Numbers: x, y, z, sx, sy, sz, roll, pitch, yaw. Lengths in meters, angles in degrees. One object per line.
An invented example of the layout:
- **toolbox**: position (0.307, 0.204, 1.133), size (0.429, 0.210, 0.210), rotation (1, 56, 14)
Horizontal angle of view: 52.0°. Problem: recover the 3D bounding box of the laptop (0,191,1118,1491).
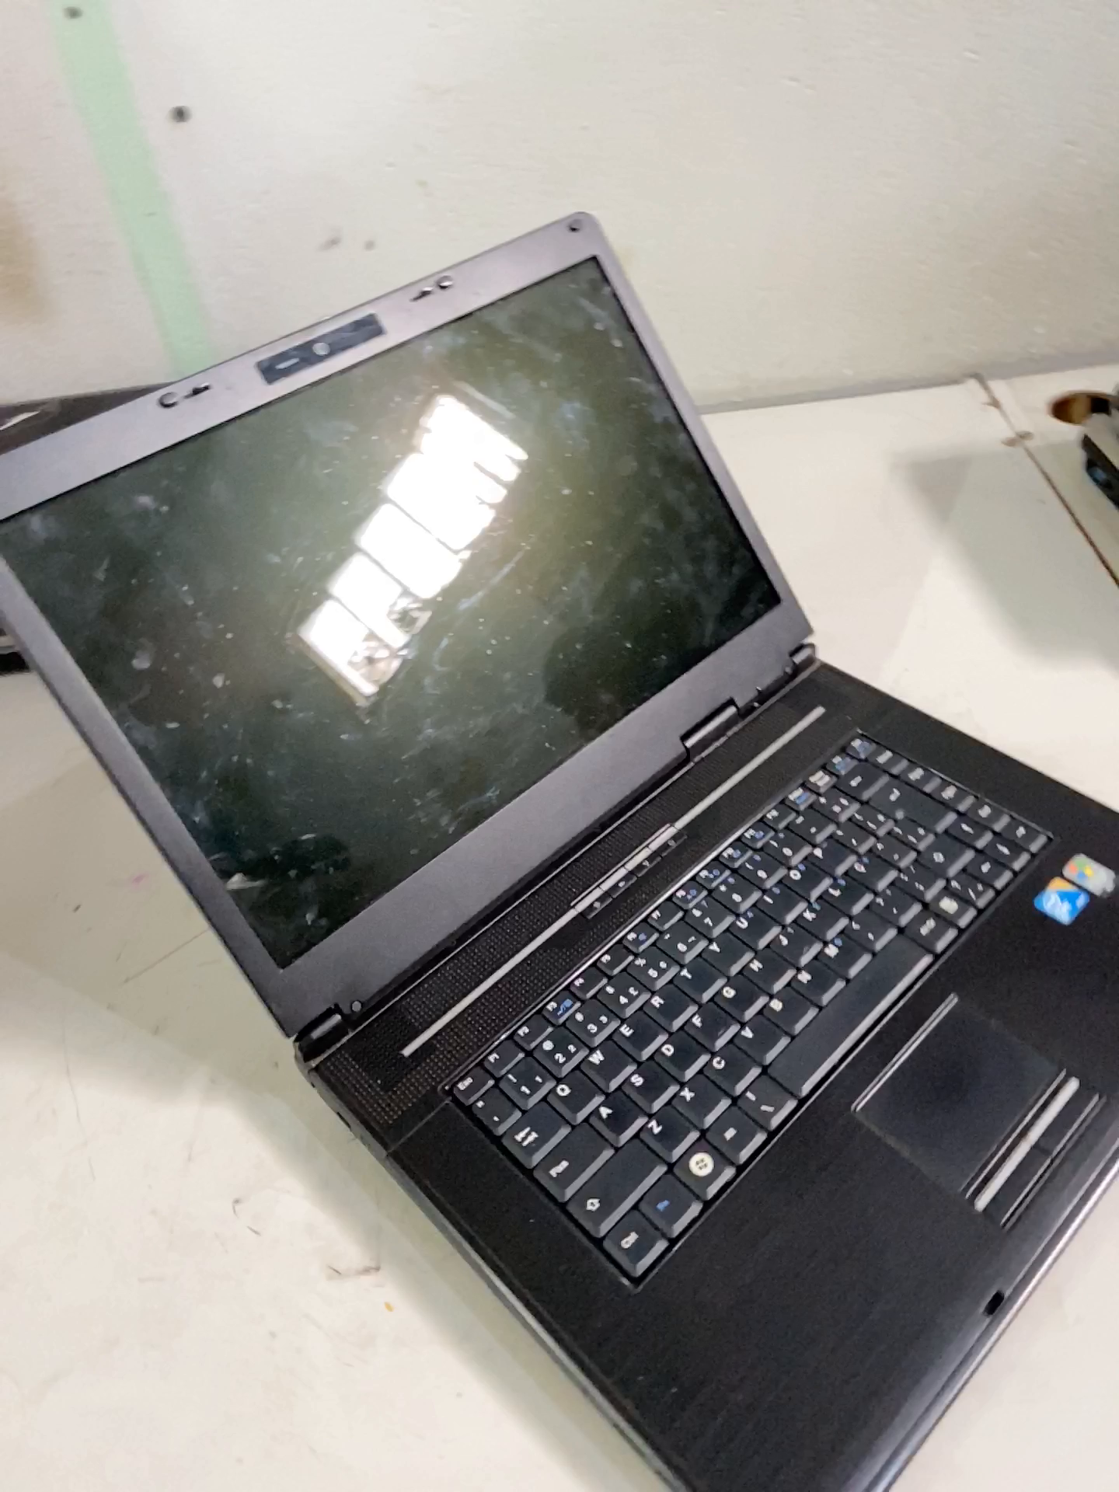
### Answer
- **laptop**: position (0.036, -0.015, 0.471), size (0.352, 0.224, 0.430), rotation (-36, 50, -27)
